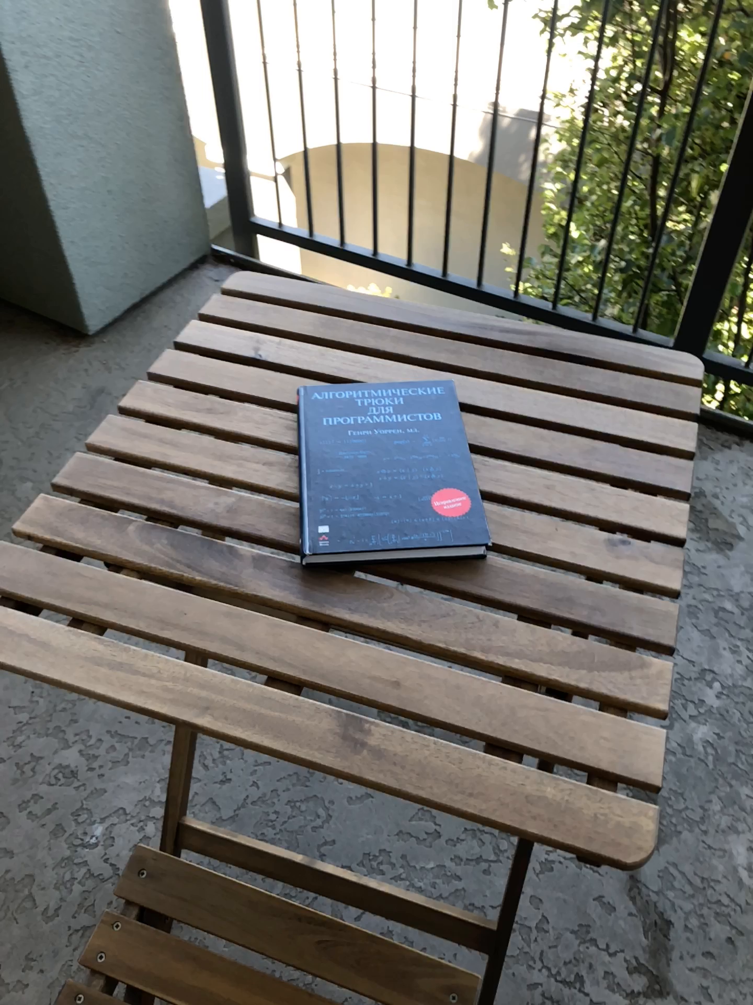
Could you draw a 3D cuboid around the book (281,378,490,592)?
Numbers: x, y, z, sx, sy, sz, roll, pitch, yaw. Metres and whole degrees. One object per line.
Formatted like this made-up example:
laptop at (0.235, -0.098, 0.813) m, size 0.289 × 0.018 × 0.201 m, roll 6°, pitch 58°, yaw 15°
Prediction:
book at (-0.002, -0.027, 0.817) m, size 0.180 × 0.030 × 0.251 m, roll -4°, pitch 47°, yaw -3°
